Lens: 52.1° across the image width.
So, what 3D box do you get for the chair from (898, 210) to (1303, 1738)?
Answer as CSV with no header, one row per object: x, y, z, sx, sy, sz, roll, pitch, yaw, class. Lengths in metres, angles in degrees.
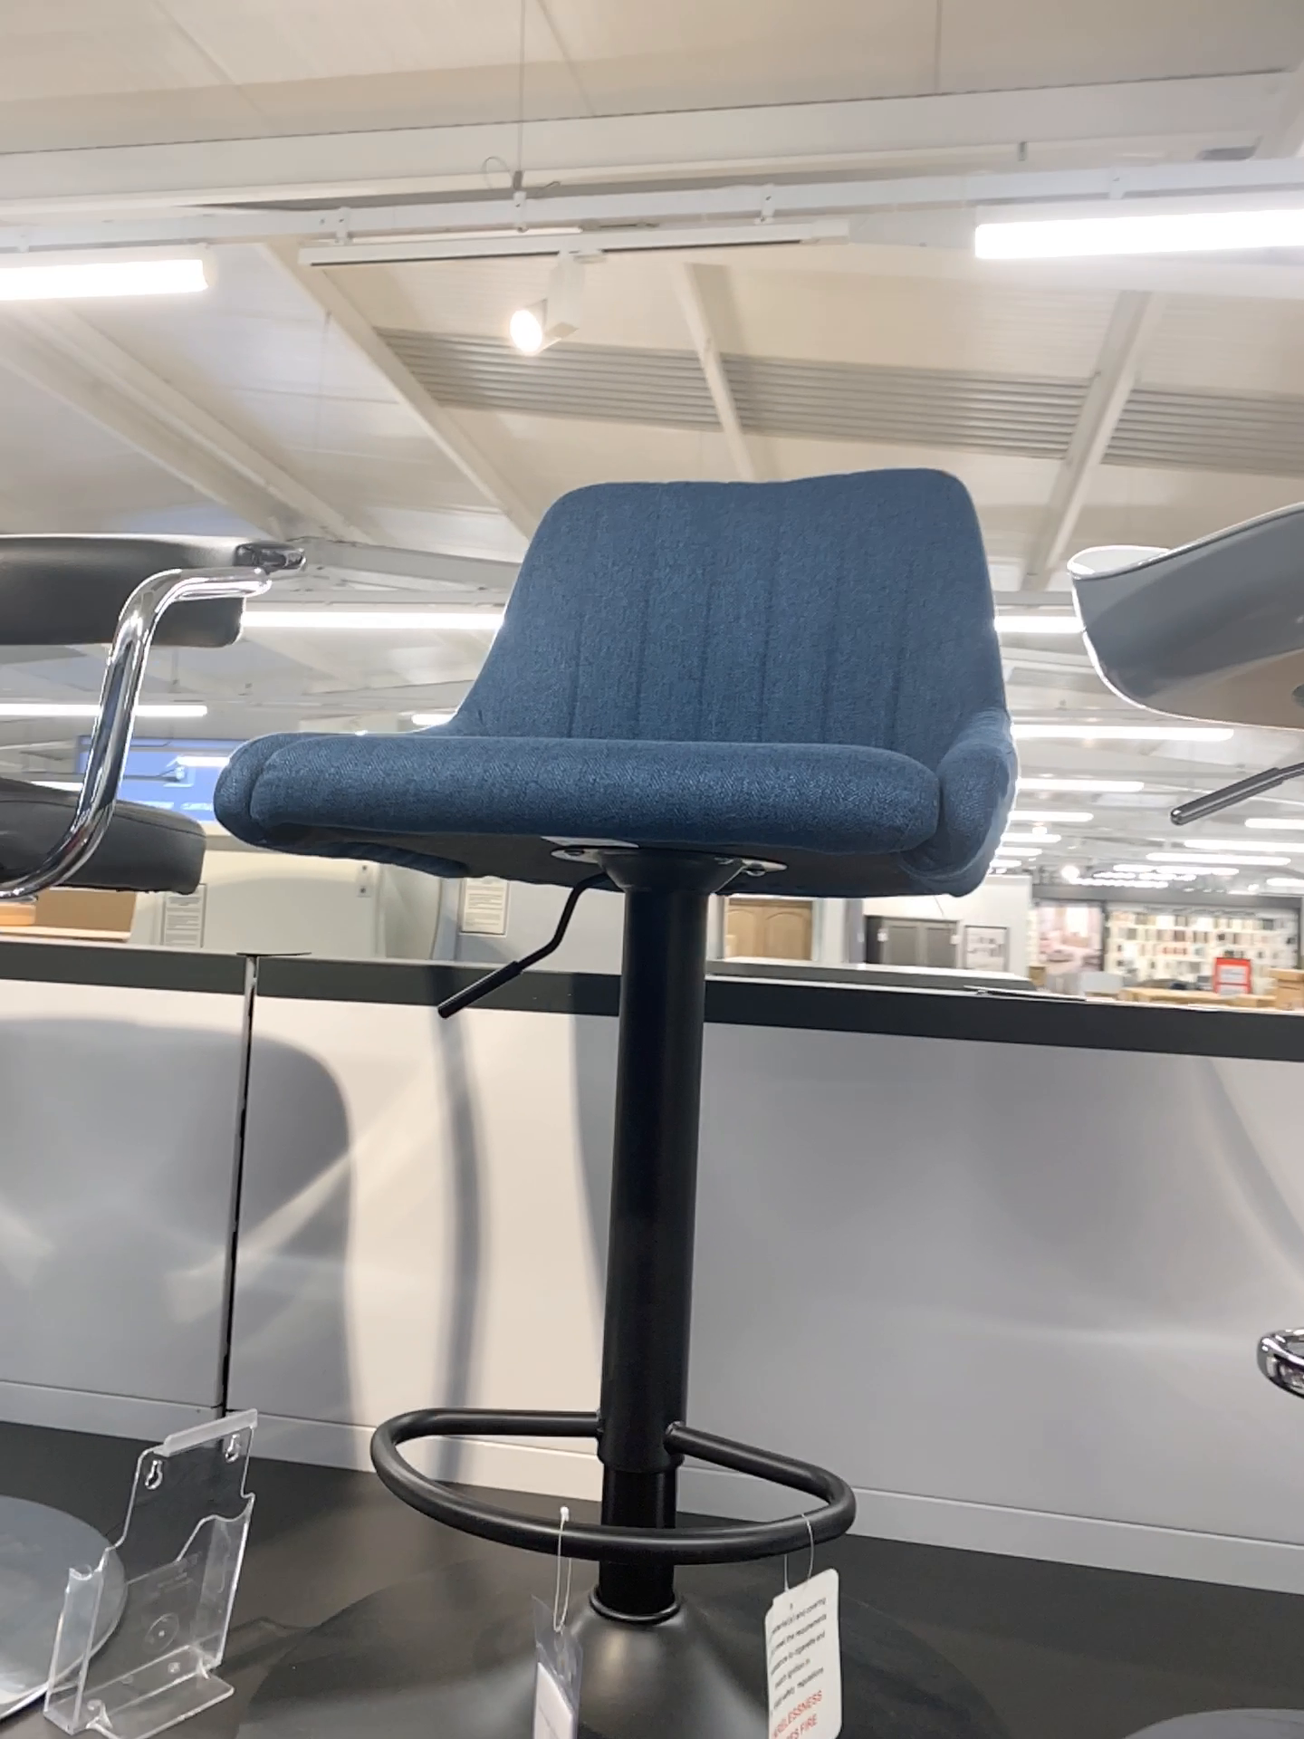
0.352,0.136,0.698,0.409,0.763,0.387,2,-4,11,chair

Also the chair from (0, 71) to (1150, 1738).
-0.022,0.085,0.856,0.539,0.873,0.507,2,-4,11,chair
